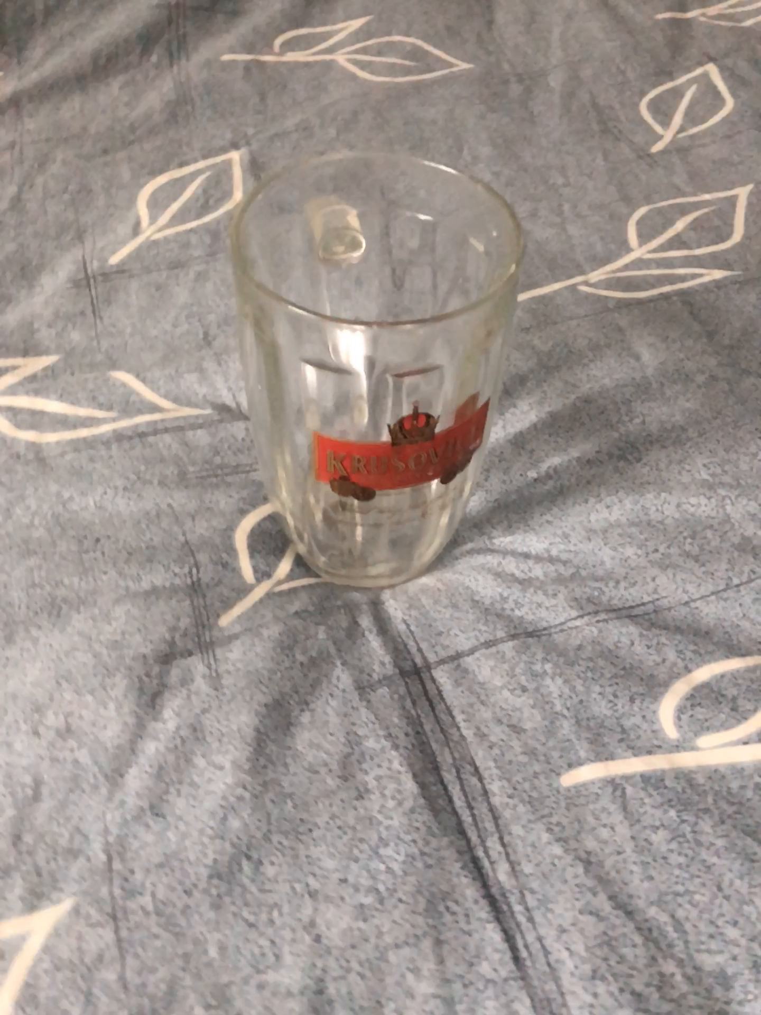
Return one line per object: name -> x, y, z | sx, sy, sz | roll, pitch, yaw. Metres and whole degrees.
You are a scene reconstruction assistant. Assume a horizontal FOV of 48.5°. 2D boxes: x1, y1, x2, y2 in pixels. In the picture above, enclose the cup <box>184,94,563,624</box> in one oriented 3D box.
cup -> -0.007, -0.056, 0.324 | 0.091, 0.136, 0.128 | -14, 50, -9
